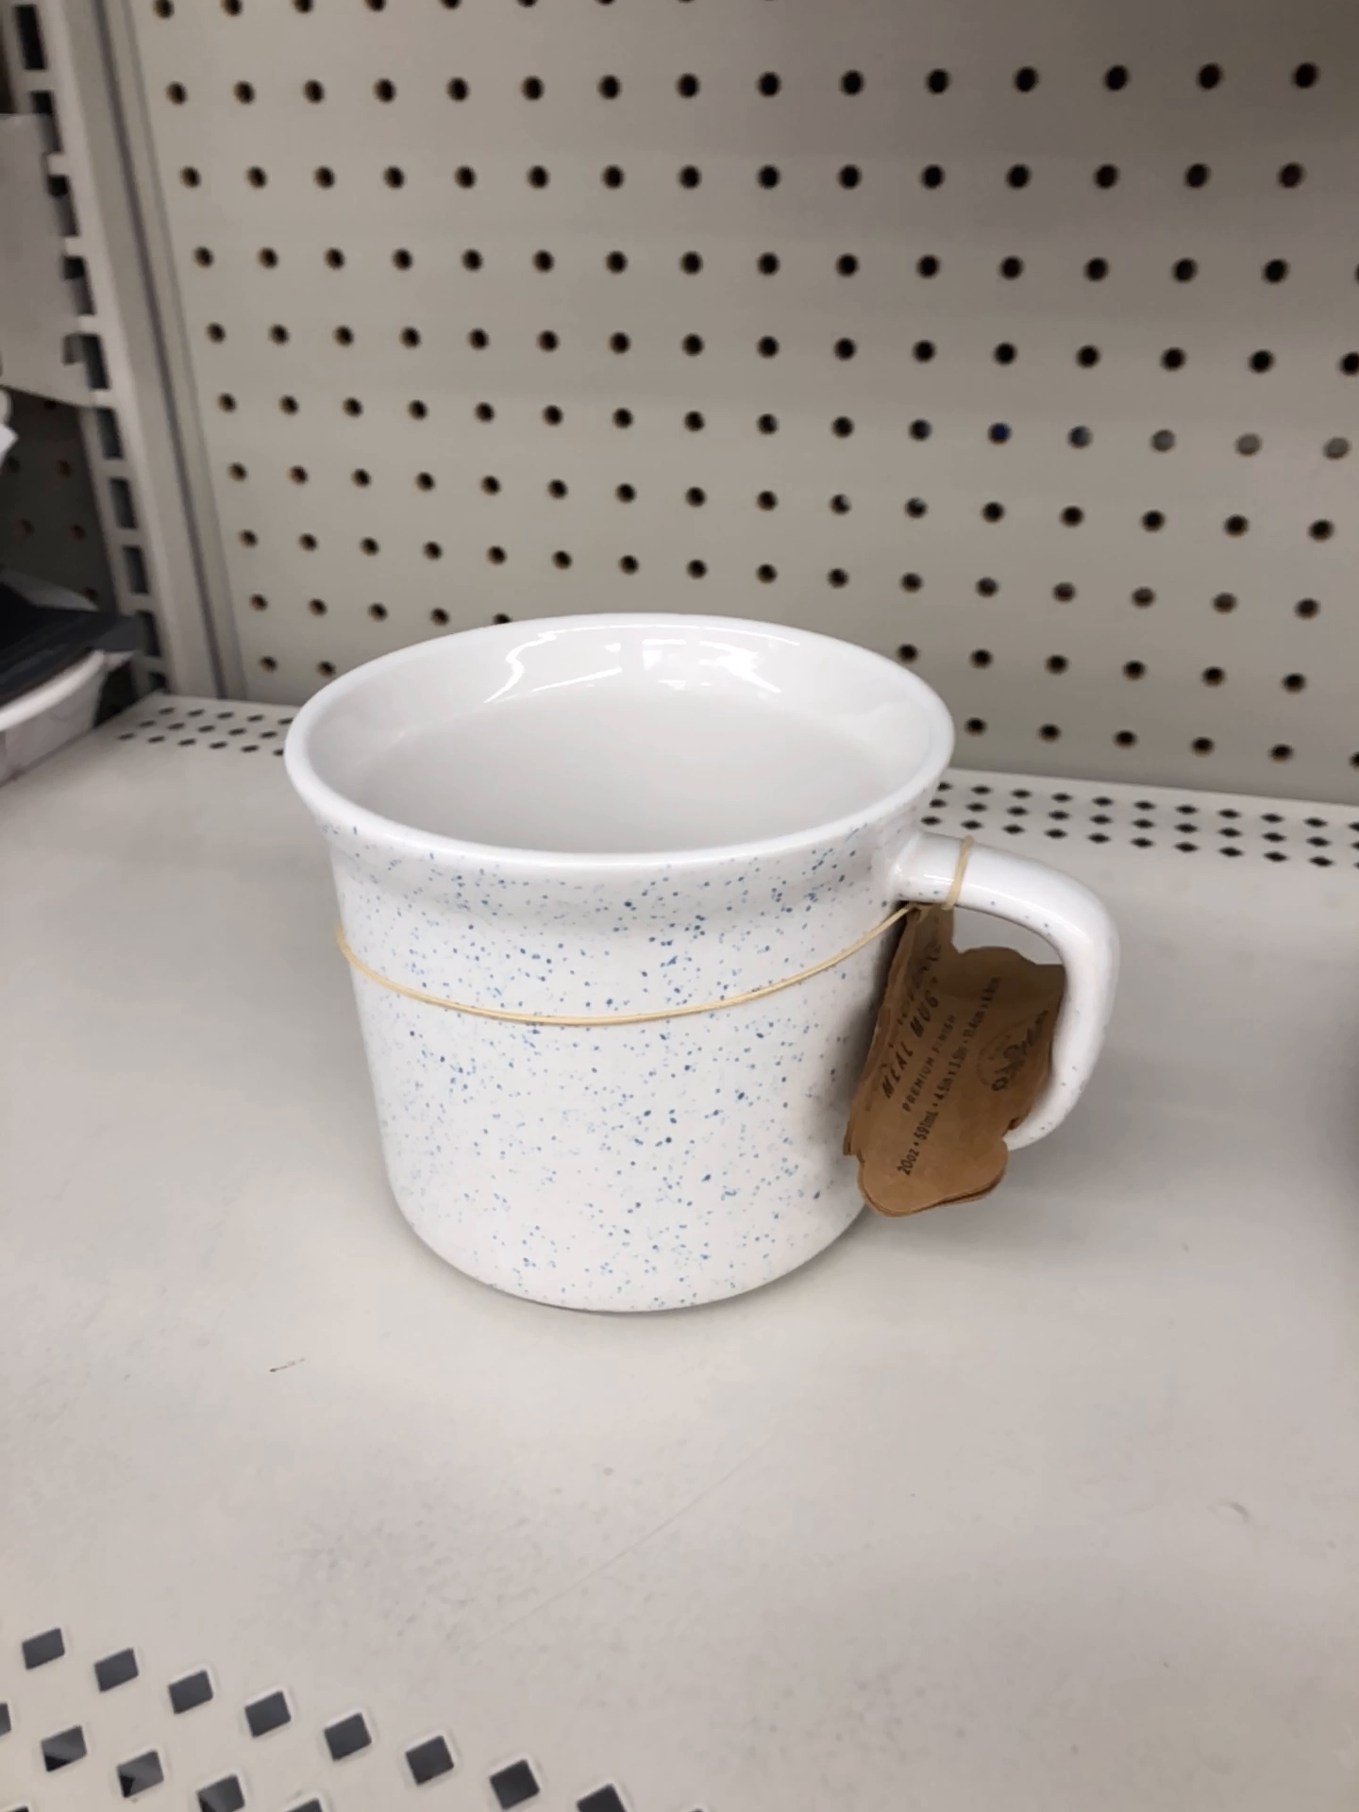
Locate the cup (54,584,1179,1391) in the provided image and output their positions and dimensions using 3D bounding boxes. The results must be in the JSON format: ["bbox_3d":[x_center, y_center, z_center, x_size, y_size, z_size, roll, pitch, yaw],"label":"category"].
[{"bbox_3d":[-0.003,0.005,0.272,0.159,0.090,0.102,5,29,12],"label":"cup"}]
